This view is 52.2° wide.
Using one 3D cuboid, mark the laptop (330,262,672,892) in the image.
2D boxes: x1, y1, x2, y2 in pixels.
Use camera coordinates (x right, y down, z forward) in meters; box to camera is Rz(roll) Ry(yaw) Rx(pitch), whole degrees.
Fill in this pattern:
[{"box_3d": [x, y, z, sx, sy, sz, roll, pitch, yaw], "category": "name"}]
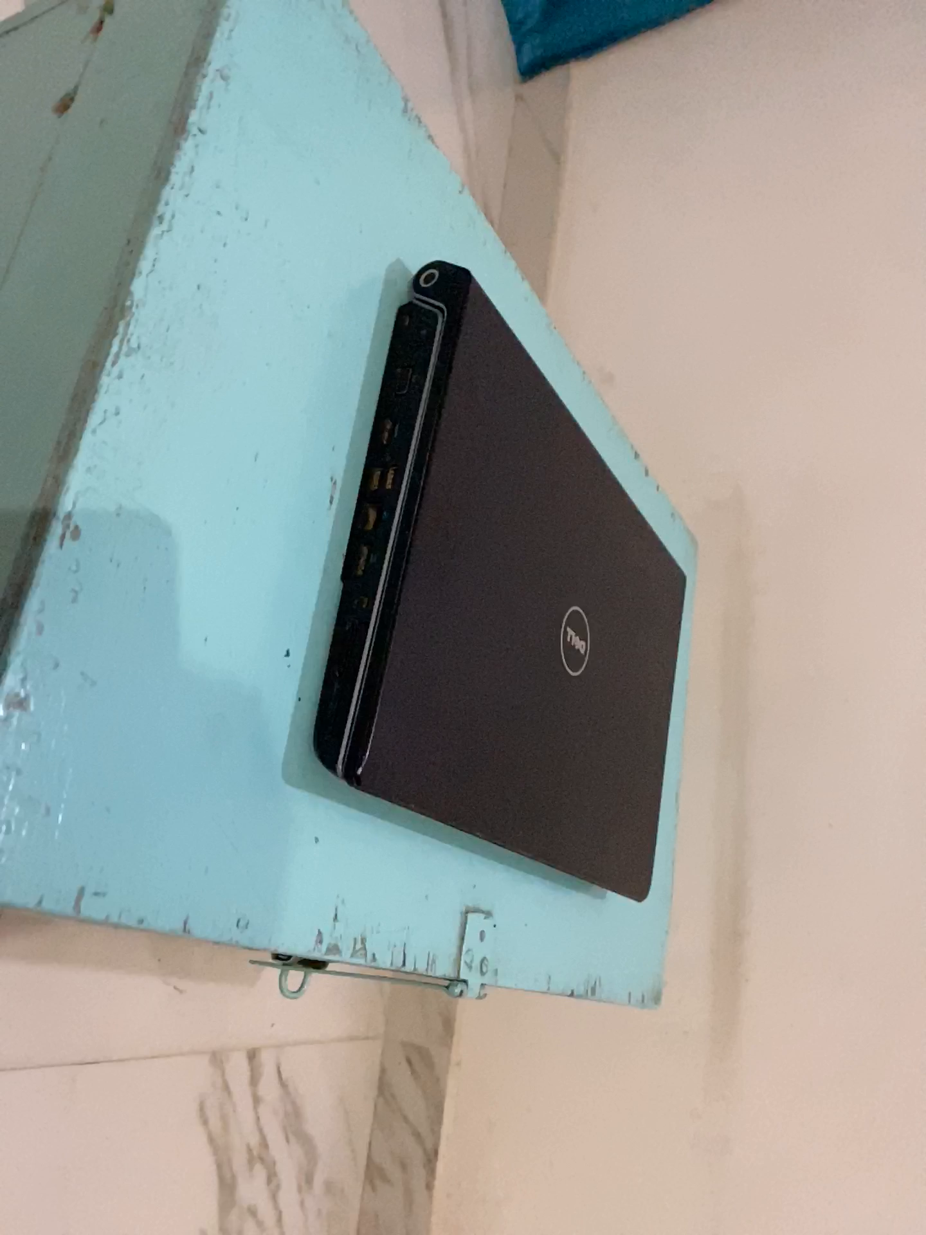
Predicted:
[{"box_3d": [0.060, 0.011, 0.614, 0.386, 0.004, 0.269, 38, 58, -53], "category": "laptop"}]
